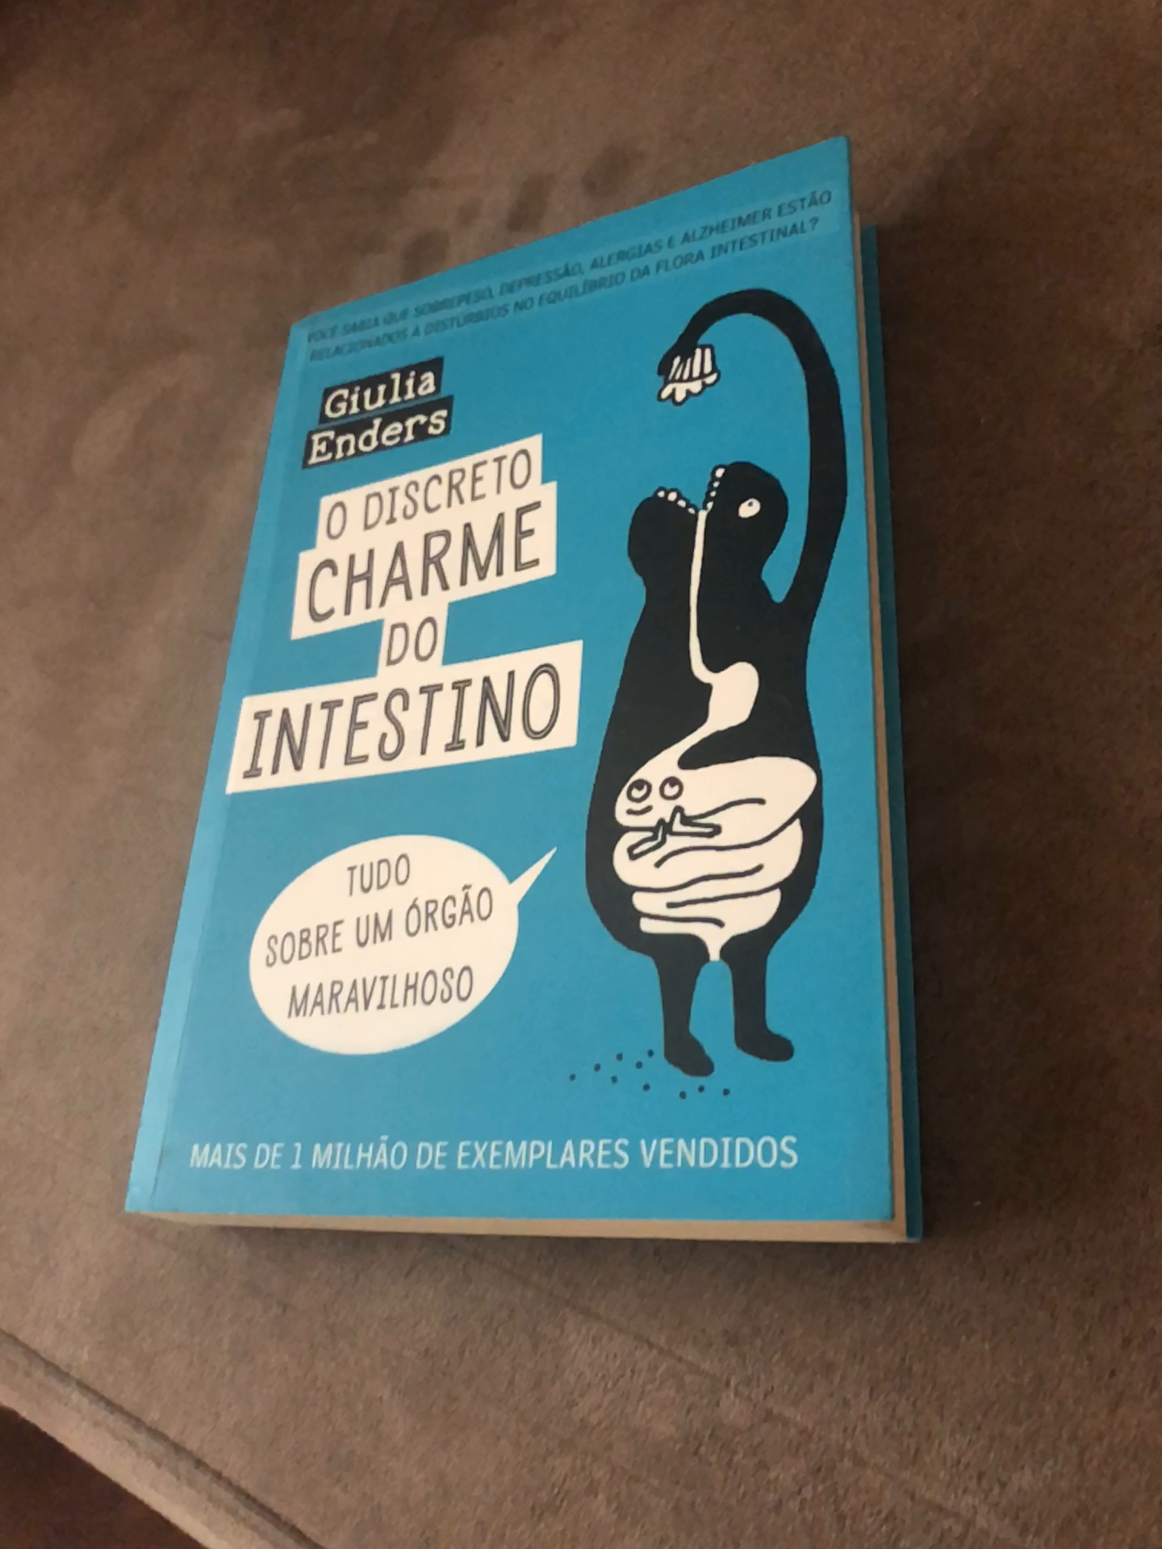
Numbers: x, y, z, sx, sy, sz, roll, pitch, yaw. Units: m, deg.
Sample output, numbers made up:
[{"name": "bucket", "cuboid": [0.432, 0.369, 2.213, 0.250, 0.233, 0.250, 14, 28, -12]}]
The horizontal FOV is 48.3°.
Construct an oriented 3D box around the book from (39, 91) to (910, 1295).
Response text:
[{"name": "book", "cuboid": [-0.015, -0.022, 0.251, 0.140, 0.030, 0.221, -7, 62, 24]}]
